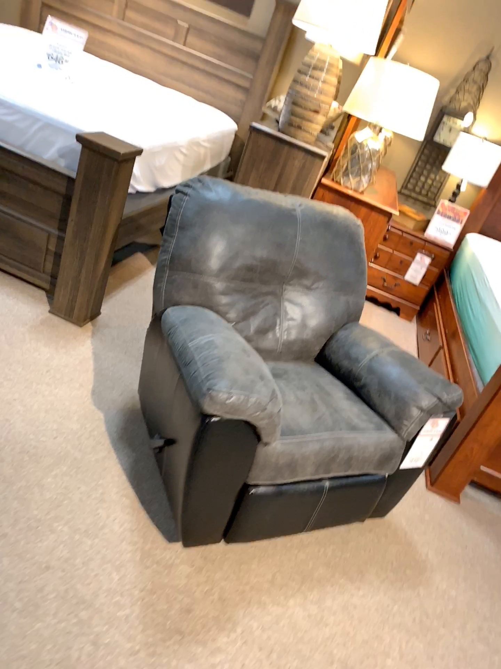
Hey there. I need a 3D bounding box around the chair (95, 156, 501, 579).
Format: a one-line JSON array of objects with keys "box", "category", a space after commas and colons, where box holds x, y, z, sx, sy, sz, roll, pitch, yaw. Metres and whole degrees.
[{"box": [0.109, 0.085, 1.805, 0.990, 0.922, 0.907, 4, 33, -30], "category": "chair"}]
